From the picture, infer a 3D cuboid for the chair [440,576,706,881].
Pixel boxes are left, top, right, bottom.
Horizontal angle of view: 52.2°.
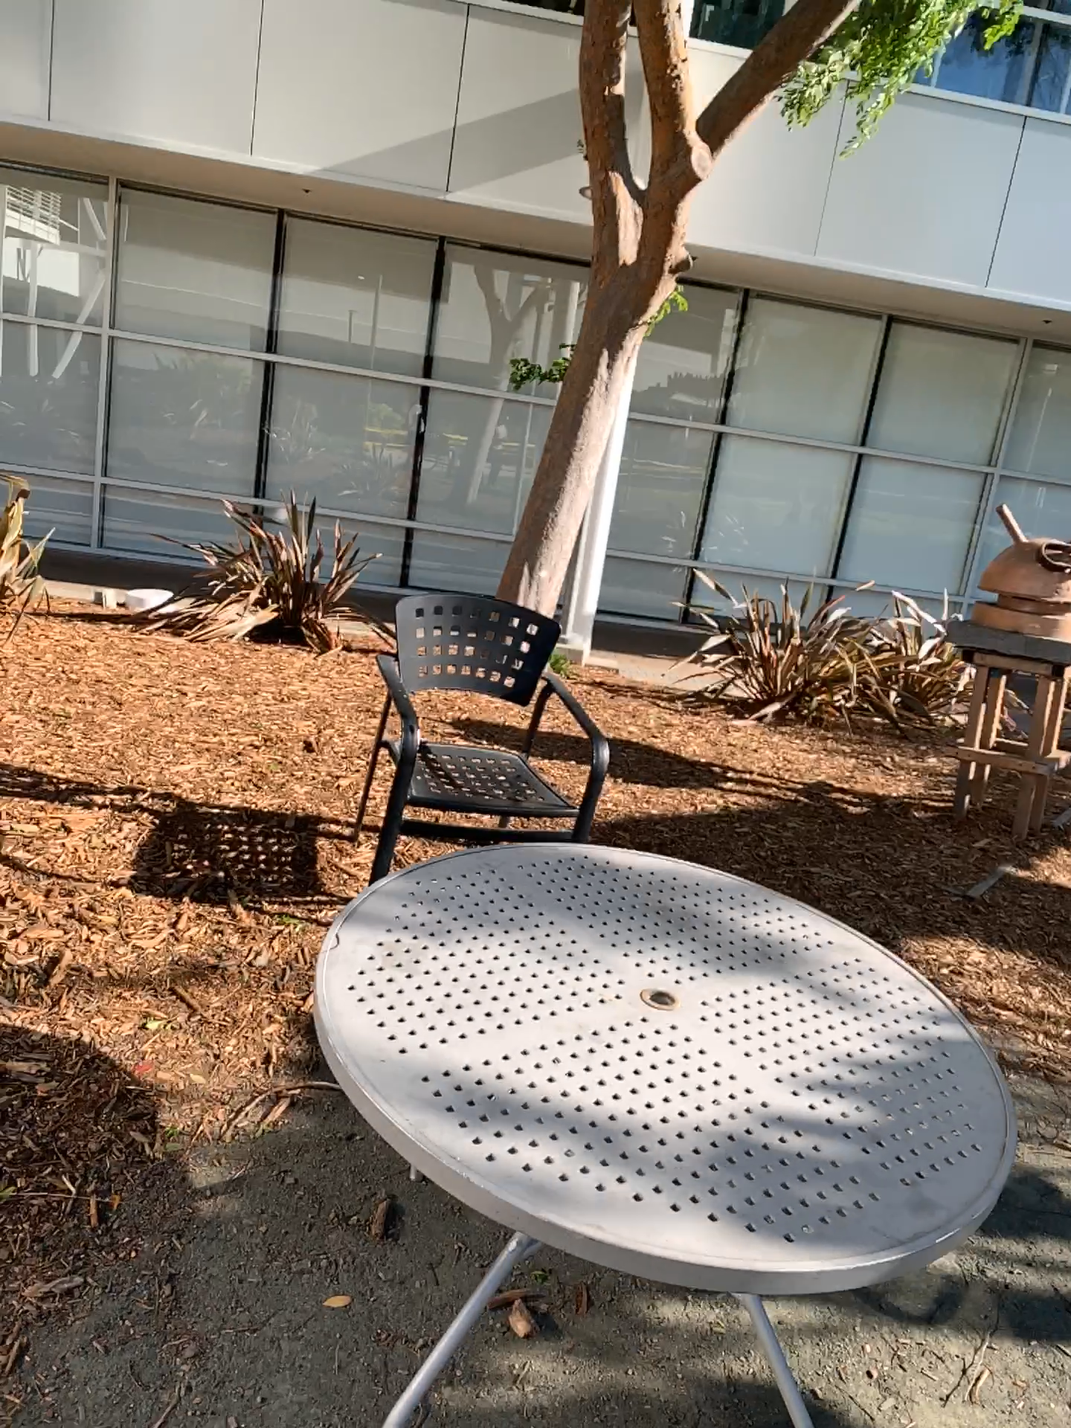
[{"bbox_3d":[0.078,0.033,3.114,0.520,0.717,0.502,4,15,-18],"label":"chair"}]
